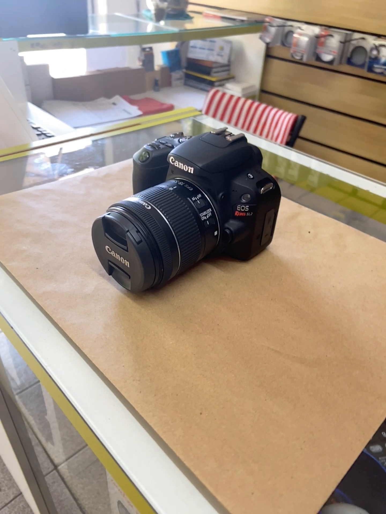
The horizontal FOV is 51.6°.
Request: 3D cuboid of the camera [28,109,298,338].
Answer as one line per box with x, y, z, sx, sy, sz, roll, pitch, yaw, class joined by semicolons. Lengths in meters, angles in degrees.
-0.022;-0.040;0.310;0.140;0.089;0.131;29;43;30;camera
